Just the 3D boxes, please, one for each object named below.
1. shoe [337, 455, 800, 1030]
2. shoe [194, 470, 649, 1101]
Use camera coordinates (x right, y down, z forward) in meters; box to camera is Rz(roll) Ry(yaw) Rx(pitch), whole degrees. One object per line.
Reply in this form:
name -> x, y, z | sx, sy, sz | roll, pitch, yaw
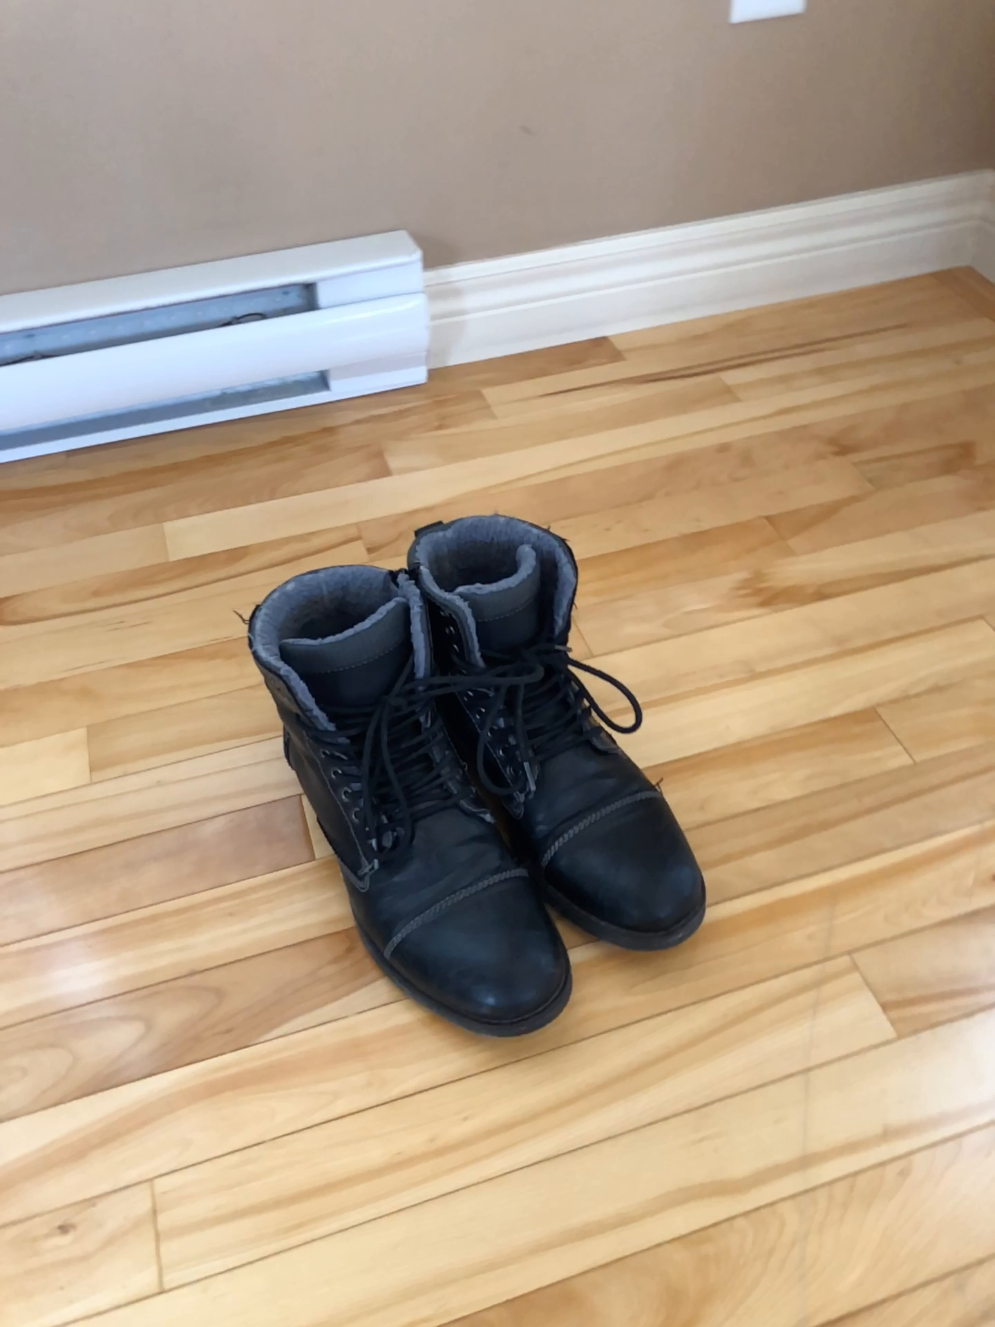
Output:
shoe -> 0.029, 0.040, 0.708 | 0.120, 0.199, 0.301 | -25, 49, -21
shoe -> -0.051, 0.060, 0.641 | 0.120, 0.199, 0.291 | -23, 49, -19
